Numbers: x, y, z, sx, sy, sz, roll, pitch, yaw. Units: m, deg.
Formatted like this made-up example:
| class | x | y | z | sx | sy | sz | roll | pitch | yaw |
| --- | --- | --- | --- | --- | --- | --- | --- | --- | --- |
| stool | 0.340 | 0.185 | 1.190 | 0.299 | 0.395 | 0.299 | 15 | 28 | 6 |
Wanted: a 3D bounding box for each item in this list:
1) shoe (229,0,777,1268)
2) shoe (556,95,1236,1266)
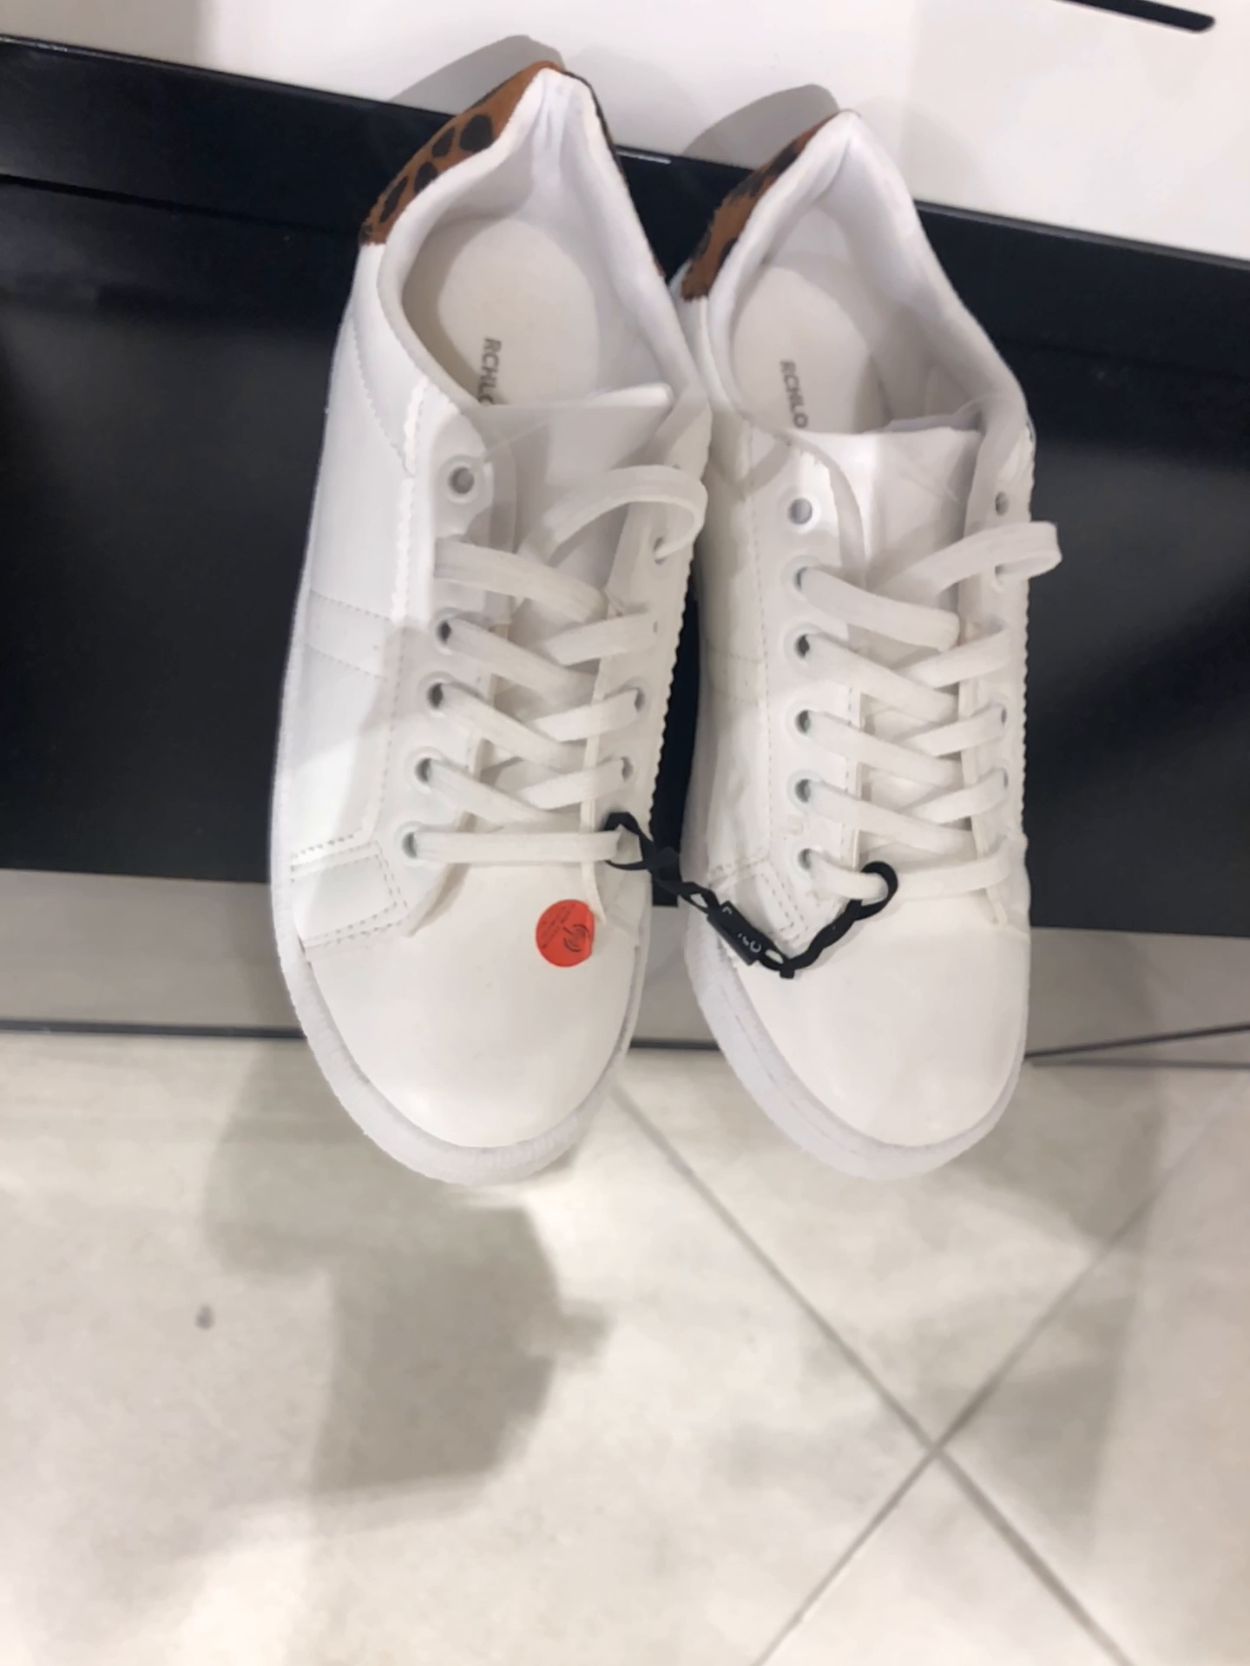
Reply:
| class | x | y | z | sx | sy | sz | roll | pitch | yaw |
| --- | --- | --- | --- | --- | --- | --- | --- | --- | --- |
| shoe | -0.031 | -0.033 | 0.292 | 0.090 | 0.100 | 0.220 | 1 | 81 | -13 |
| shoe | 0.049 | -0.030 | 0.314 | 0.090 | 0.100 | 0.220 | -4 | 82 | -15 |
